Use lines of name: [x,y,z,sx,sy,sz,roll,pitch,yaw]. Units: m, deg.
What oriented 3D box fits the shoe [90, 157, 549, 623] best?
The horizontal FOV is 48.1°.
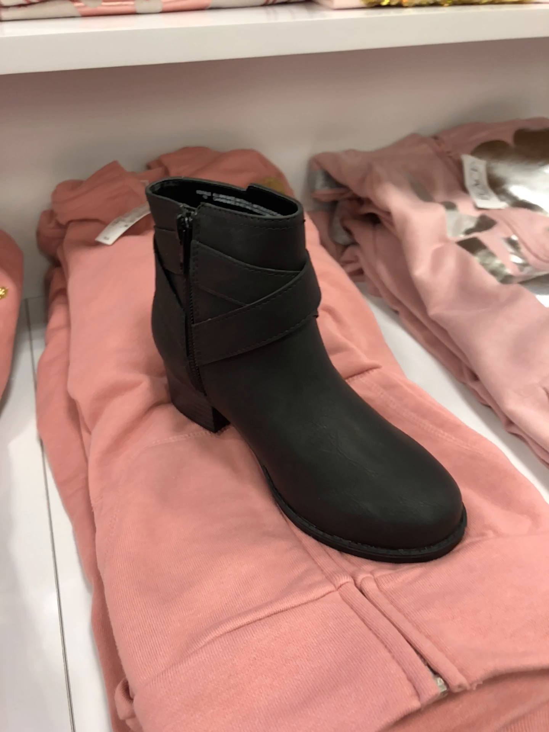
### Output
shoe: [0.013,-0.003,0.297,0.200,0.129,0.080,30,46,32]
